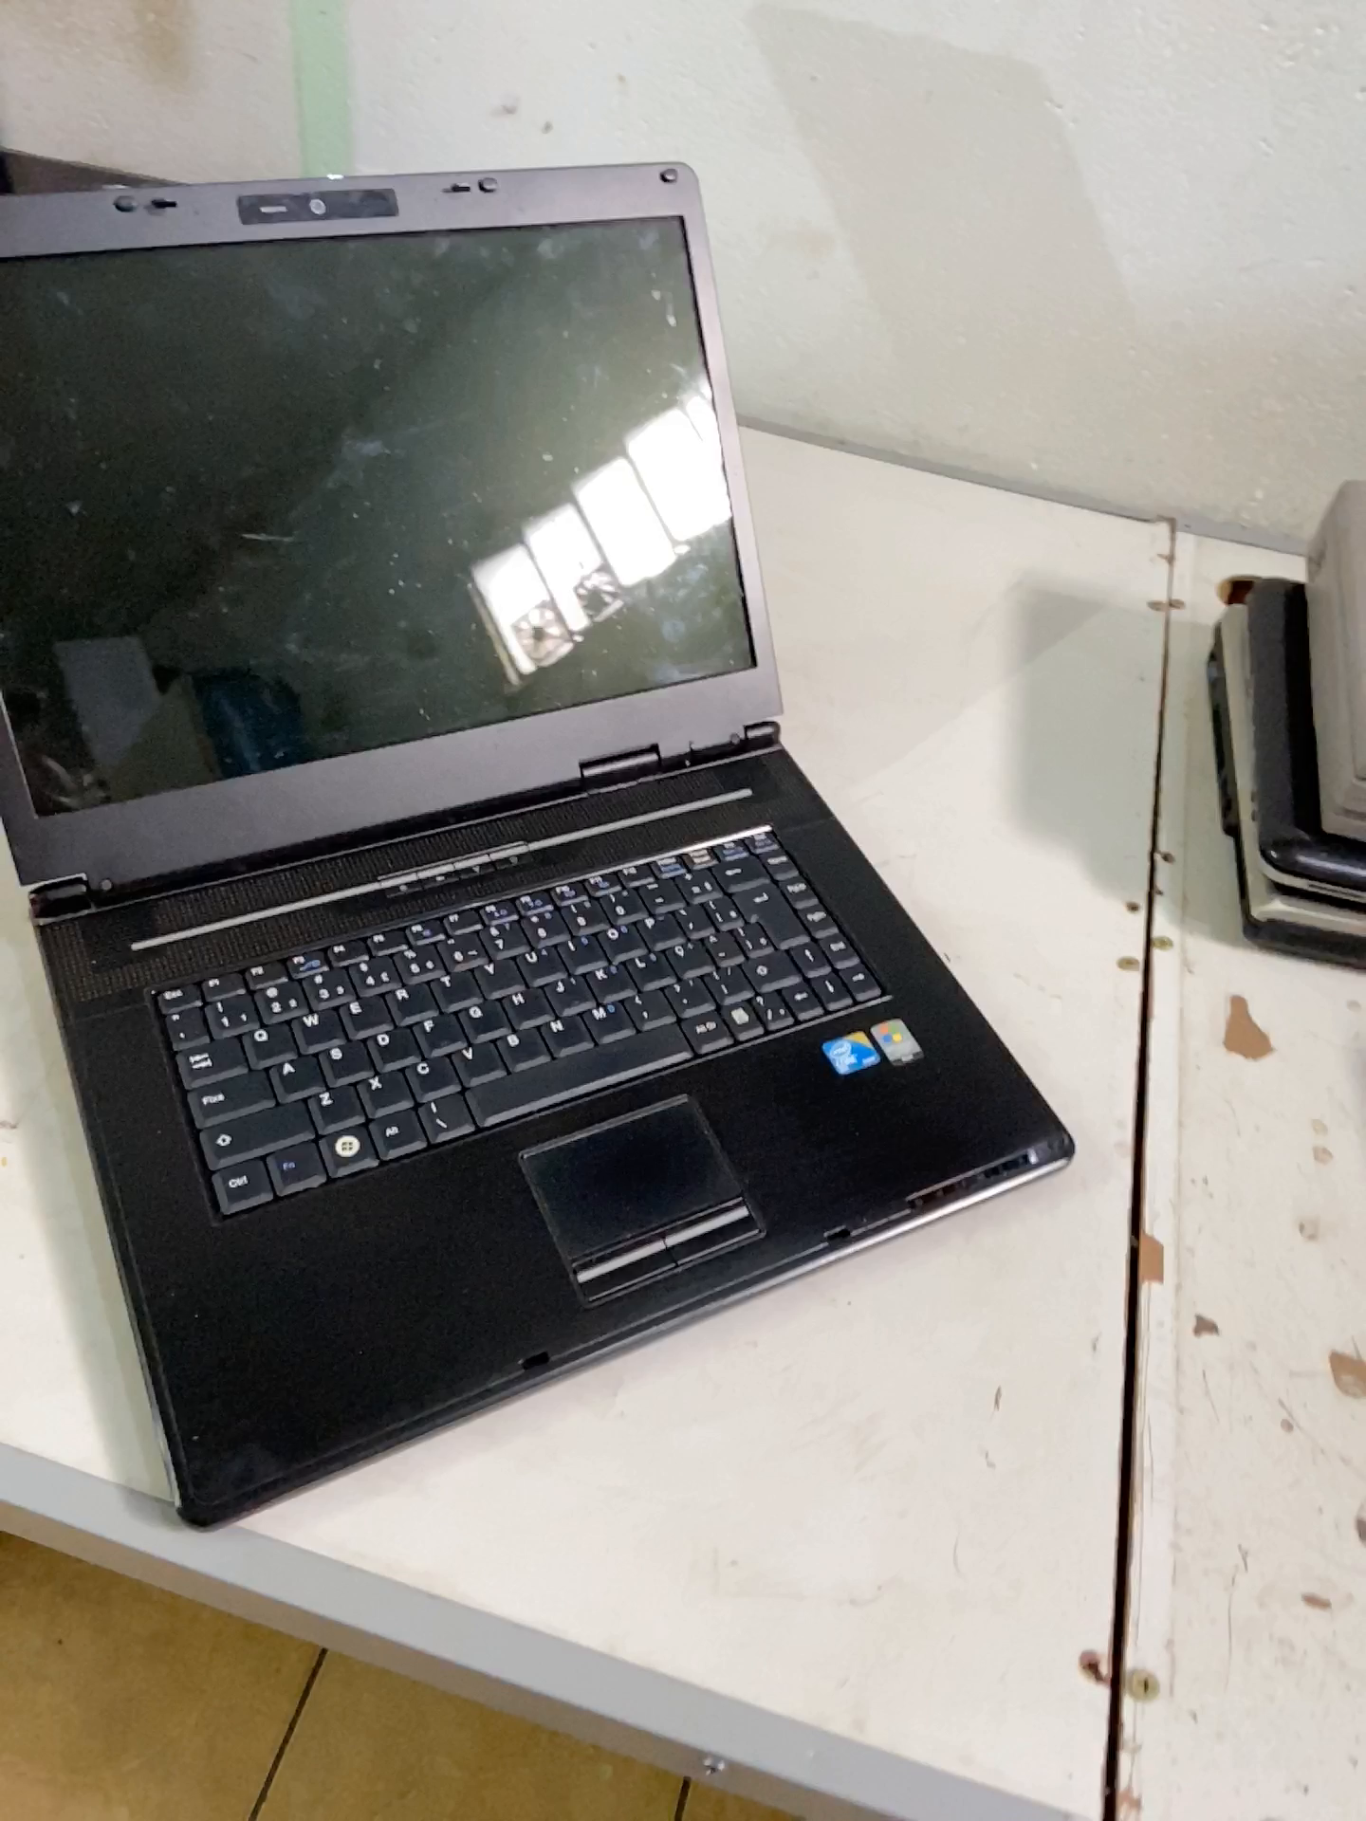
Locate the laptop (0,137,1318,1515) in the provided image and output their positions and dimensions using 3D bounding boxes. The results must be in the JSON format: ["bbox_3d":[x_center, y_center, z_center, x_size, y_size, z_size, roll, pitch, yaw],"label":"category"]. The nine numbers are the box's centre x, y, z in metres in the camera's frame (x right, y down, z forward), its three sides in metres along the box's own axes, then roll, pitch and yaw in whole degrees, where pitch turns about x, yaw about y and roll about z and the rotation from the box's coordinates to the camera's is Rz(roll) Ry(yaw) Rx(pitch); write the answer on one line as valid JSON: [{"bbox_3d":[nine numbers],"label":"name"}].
[{"bbox_3d":[-0.076,-0.085,0.543,0.352,0.224,0.431,-16,53,-22],"label":"laptop"}]
